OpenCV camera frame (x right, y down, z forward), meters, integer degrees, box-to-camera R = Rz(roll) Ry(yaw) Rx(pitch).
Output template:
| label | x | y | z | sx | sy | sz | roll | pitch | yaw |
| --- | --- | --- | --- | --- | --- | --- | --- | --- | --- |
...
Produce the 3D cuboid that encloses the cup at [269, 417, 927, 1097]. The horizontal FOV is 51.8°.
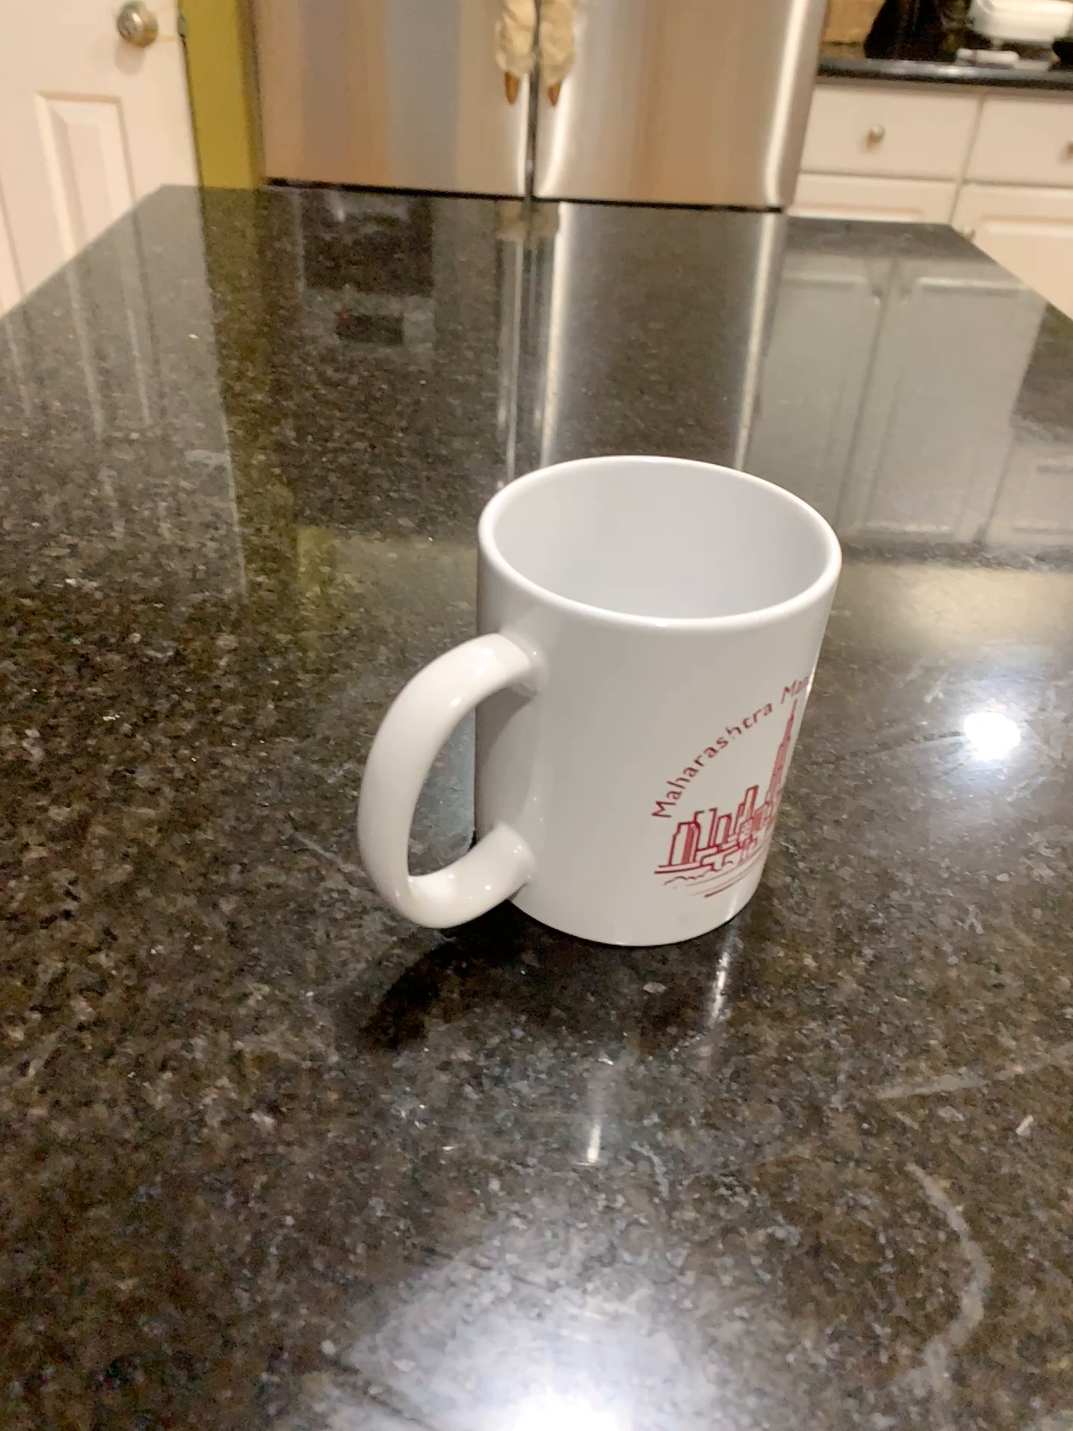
| label | x | y | z | sx | sy | sz | roll | pitch | yaw |
| --- | --- | --- | --- | --- | --- | --- | --- | --- | --- |
| cup | 0.015 | 0.001 | 0.269 | 0.124 | 0.097 | 0.081 | -28 | 46 | -35 |
